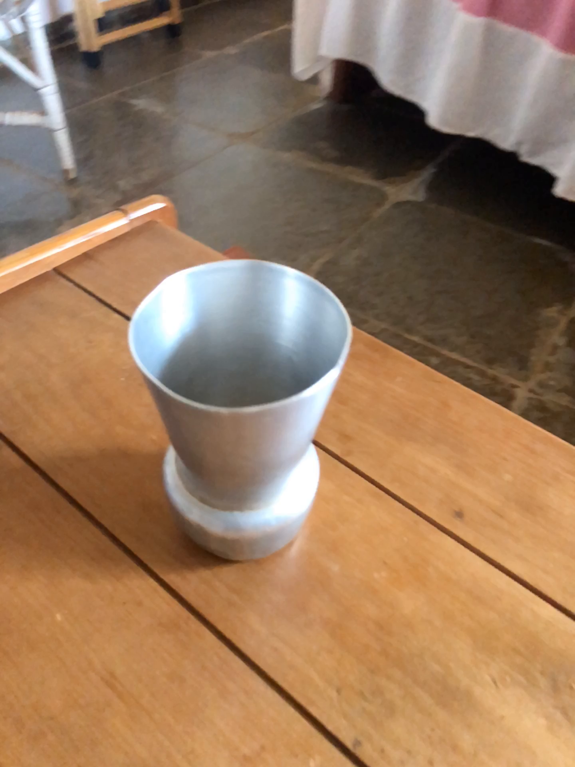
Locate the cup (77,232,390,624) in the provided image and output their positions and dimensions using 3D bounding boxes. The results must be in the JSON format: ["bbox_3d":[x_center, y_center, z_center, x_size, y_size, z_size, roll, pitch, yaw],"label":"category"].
[{"bbox_3d":[-0.019,0.018,0.239,0.070,0.109,0.070,3,44,-2],"label":"cup"}]
